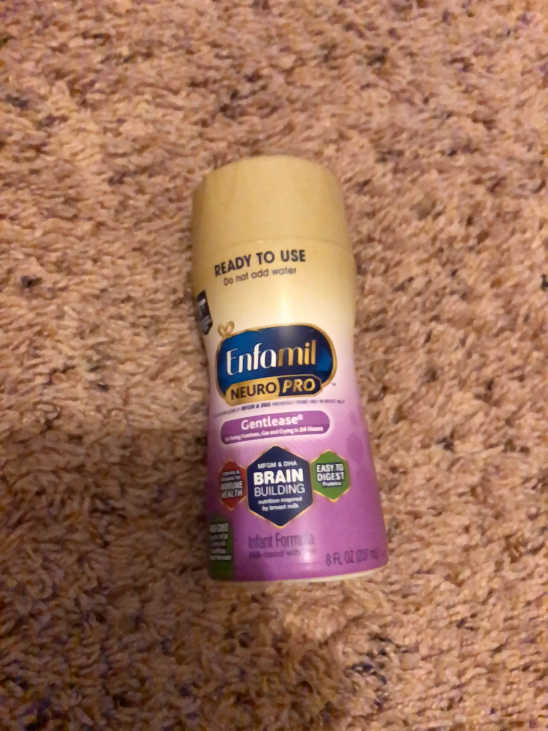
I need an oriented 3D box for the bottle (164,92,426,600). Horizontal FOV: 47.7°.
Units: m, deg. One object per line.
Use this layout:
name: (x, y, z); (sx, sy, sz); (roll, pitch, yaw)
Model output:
bottle: (0.007, -0.002, 0.216); (0.060, 0.060, 0.150); (-10, 77, 25)
